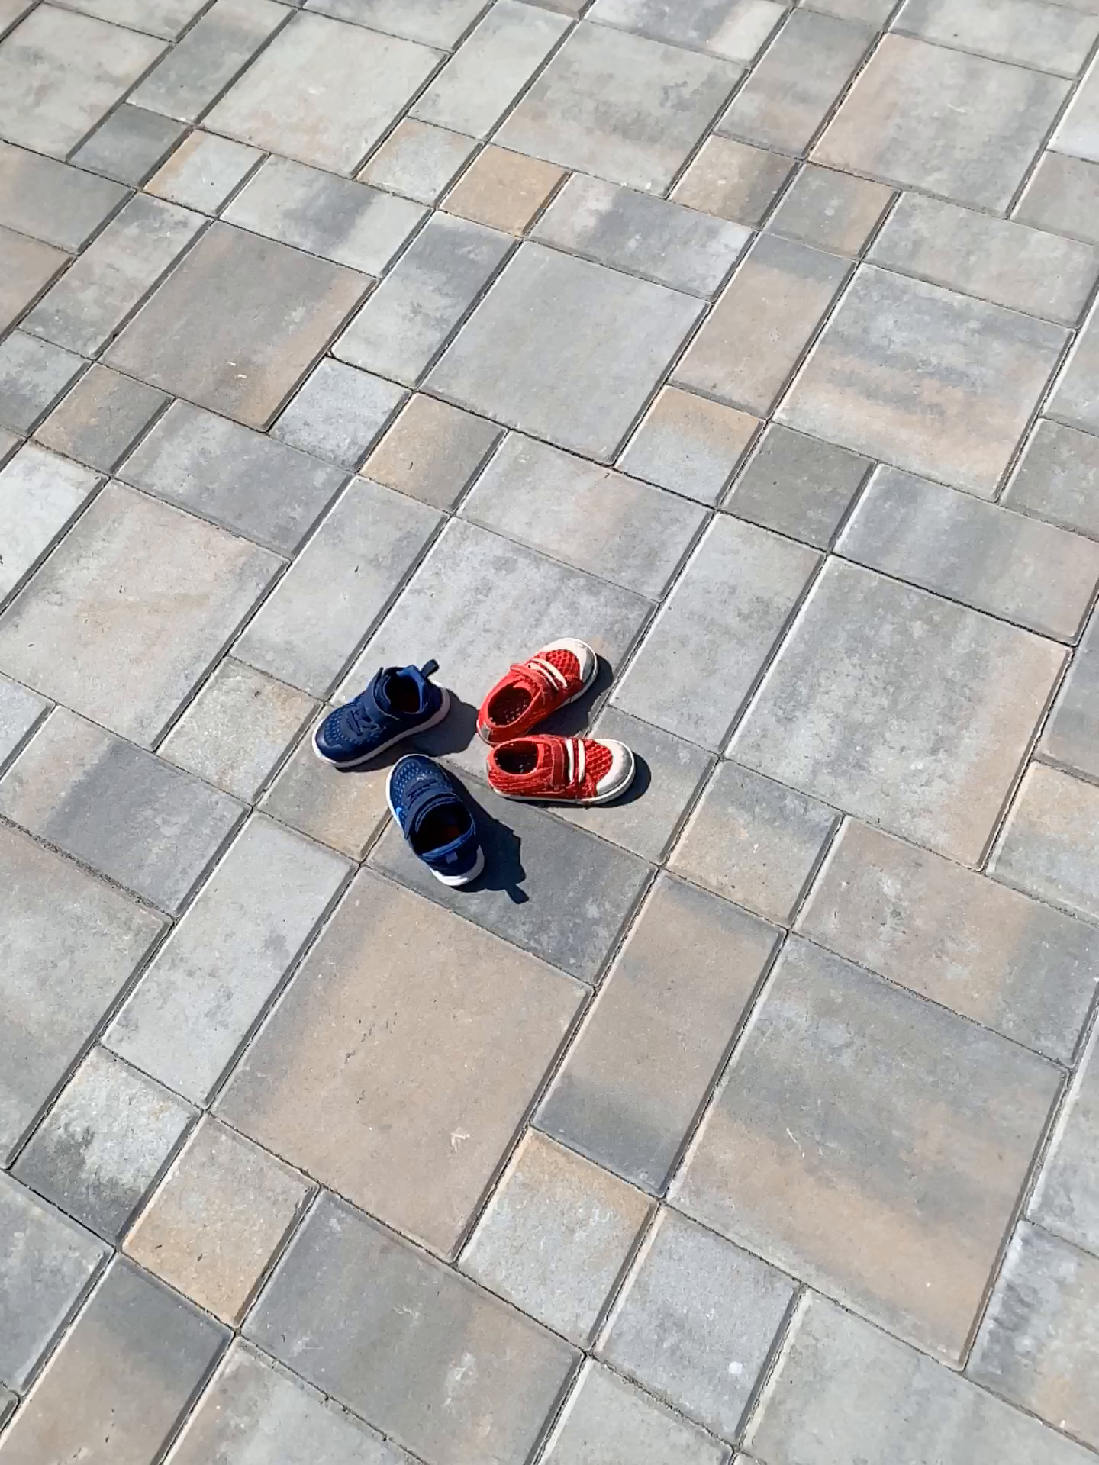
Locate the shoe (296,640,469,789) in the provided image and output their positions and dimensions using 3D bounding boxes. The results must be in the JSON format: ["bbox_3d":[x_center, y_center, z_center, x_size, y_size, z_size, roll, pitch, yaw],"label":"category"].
[{"bbox_3d":[-0.183,-0.020,1.244,0.160,0.070,0.080,-27,67,-7],"label":"shoe"}]

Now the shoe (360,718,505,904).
[{"bbox_3d":[-0.122,0.082,1.178,0.080,0.080,0.160,-27,67,-7],"label":"shoe"}]

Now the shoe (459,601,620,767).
[{"bbox_3d":[-0.009,-0.053,1.240,0.160,0.070,0.080,-40,69,-12],"label":"shoe"}]

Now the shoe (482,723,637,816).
[{"bbox_3d":[0.014,0.041,1.212,0.160,0.070,0.080,0,66,5],"label":"shoe"}]
